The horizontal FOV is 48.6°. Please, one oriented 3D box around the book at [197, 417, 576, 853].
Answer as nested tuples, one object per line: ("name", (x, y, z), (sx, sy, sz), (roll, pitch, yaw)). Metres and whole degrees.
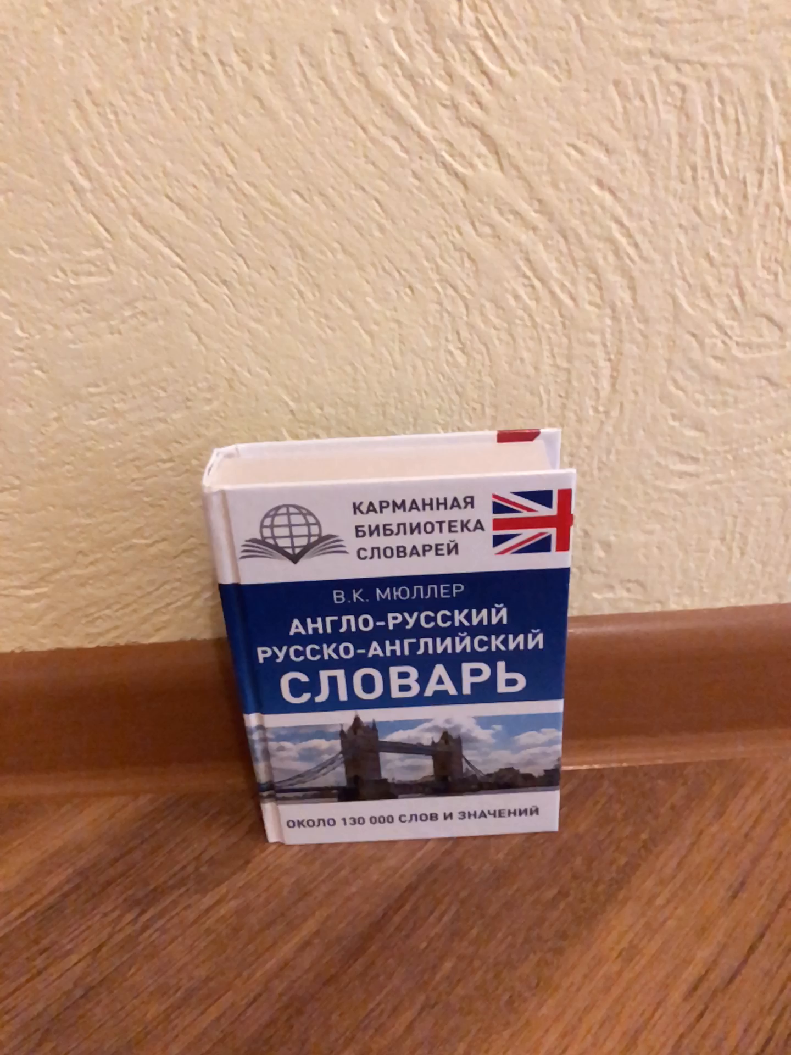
("book", (0.001, 0.041, 0.290), (0.102, 0.146, 0.037), (-3, 32, 1))
